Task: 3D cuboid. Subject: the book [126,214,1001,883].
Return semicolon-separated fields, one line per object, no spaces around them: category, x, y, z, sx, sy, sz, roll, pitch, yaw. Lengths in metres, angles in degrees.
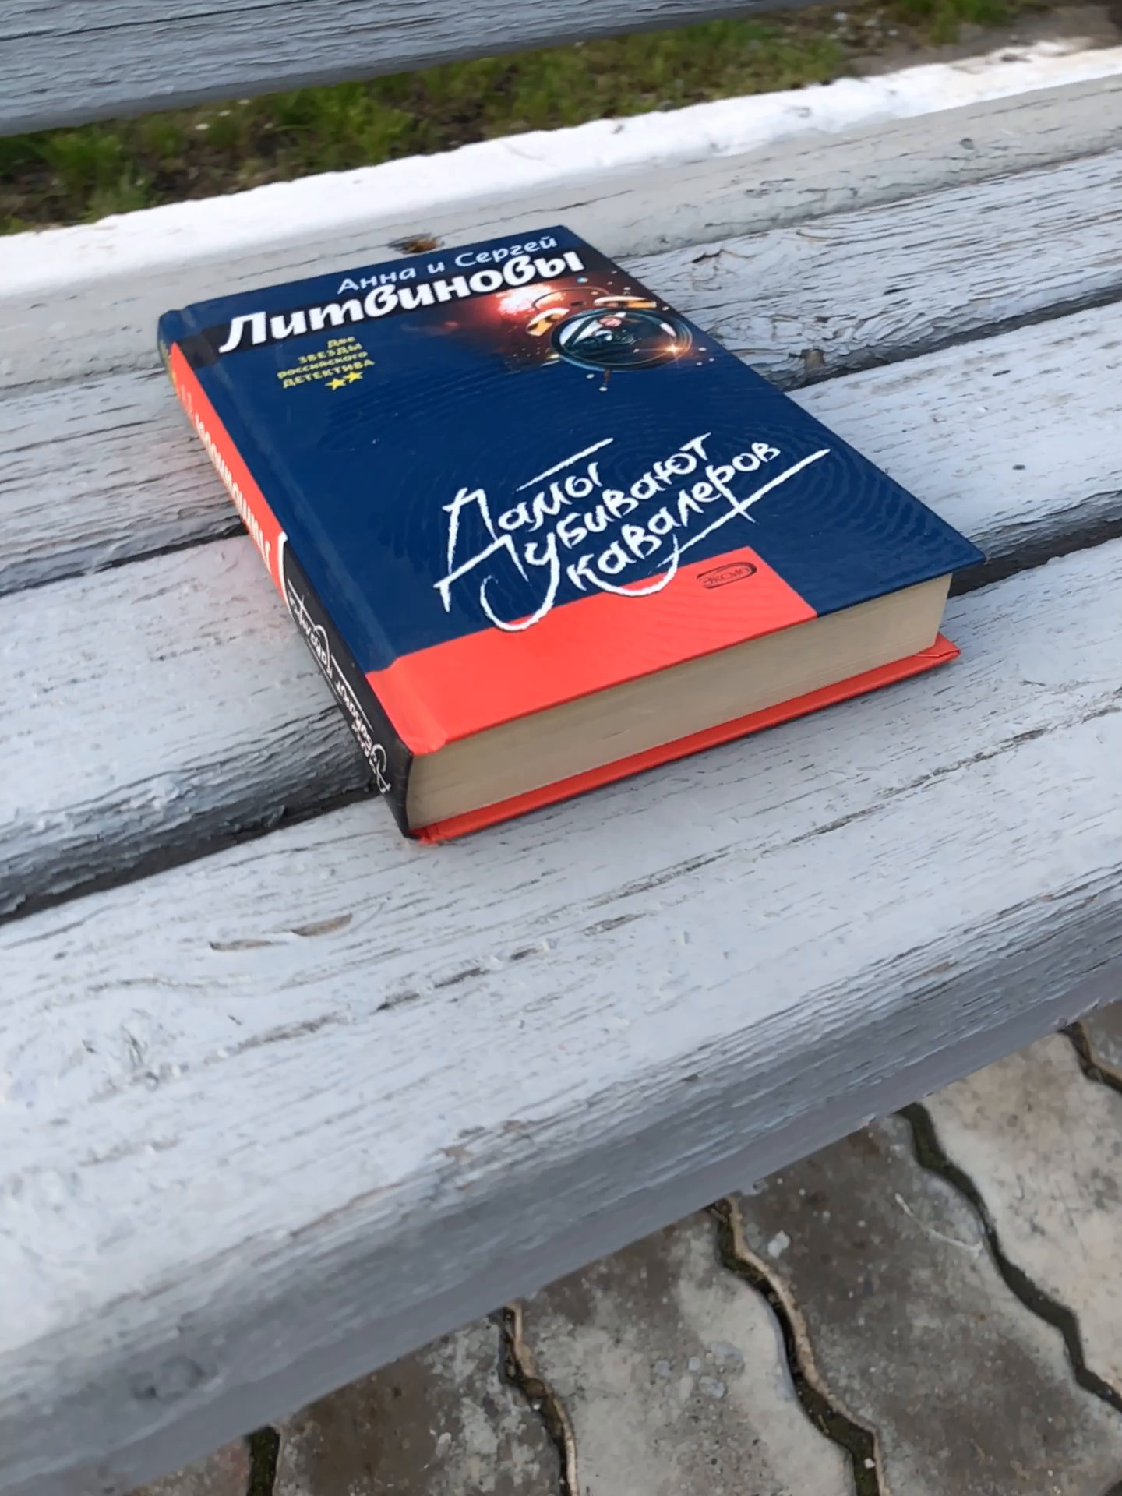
book;-0.016;-0.070;0.307;0.130;0.030;0.208;-19;46;-18
